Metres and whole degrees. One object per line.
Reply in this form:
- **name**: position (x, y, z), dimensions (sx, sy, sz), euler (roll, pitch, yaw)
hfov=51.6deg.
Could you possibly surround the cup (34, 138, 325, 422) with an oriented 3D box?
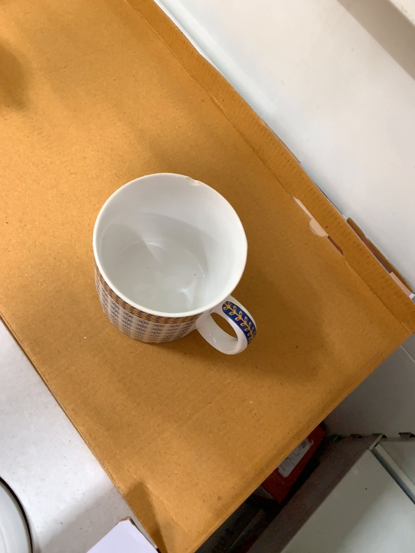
- **cup**: position (-0.017, 0.005, 0.228), dimensions (0.110, 0.070, 0.080), euler (43, 64, 5)
